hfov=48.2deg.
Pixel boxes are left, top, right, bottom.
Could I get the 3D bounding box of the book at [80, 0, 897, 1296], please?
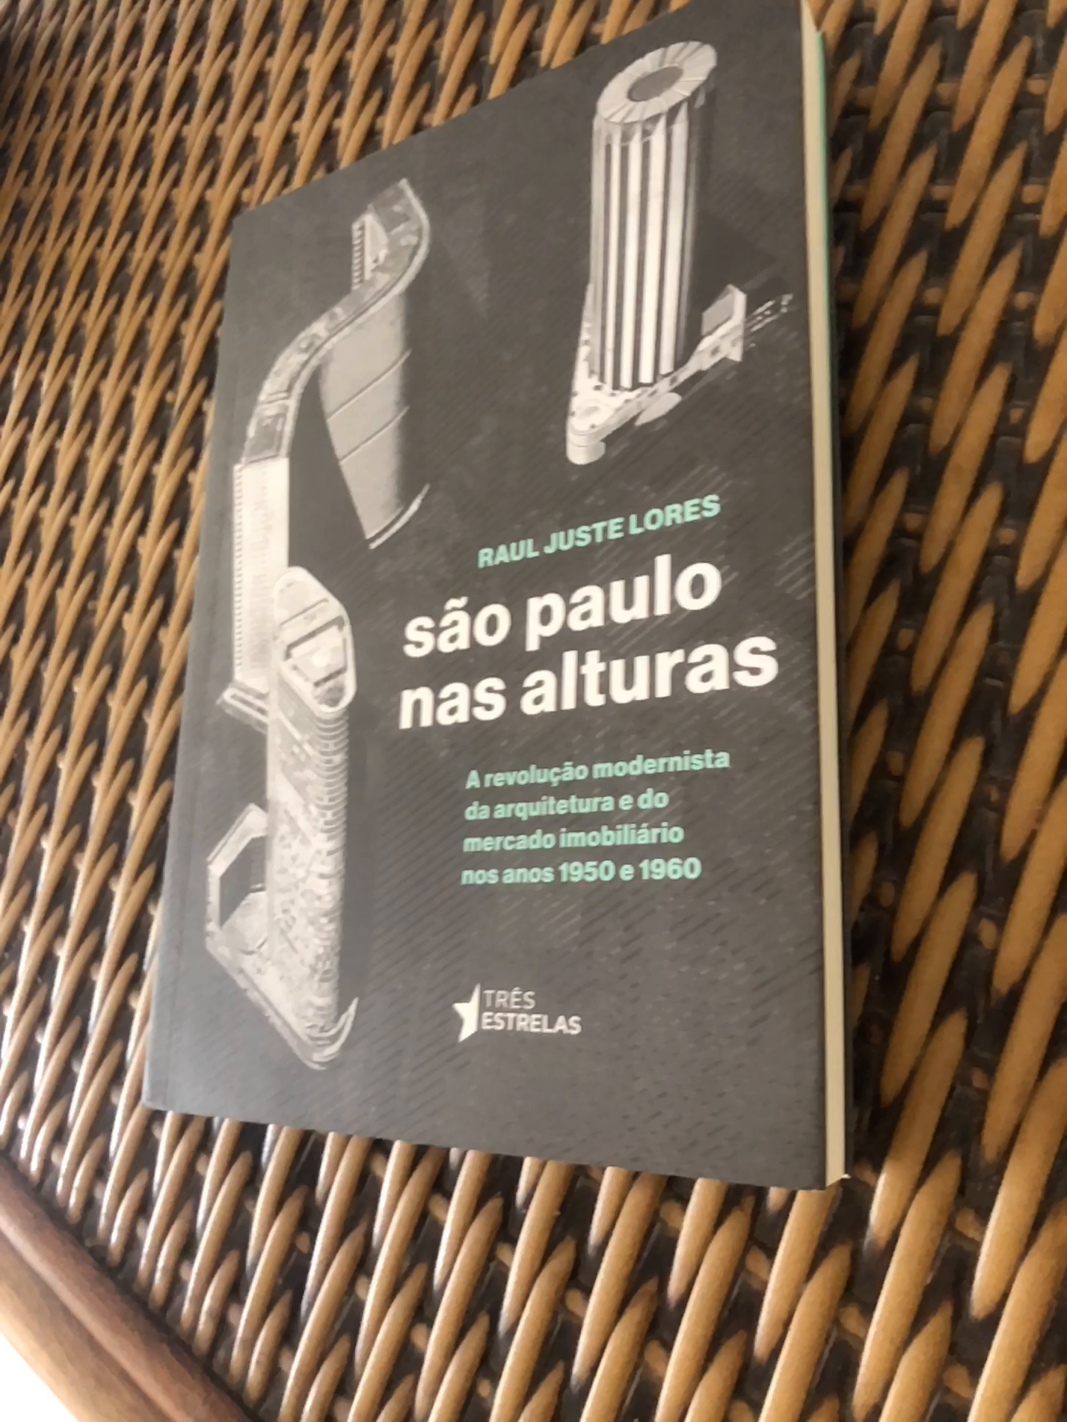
[{"bbox_3d":[-0.014,-0.023,0.237,0.161,0.030,0.221,-2,79,33],"label":"book"}]
